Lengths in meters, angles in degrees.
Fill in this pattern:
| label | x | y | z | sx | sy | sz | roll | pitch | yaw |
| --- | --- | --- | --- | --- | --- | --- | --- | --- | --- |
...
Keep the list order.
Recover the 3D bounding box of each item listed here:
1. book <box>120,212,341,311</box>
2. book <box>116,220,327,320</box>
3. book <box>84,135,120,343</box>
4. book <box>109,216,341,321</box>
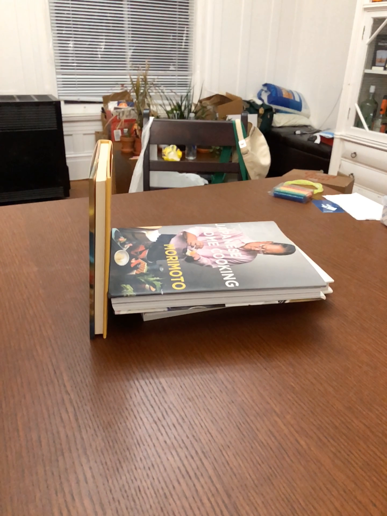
| label | x | y | z | sx | sy | sz | roll | pitch | yaw |
| --- | --- | --- | --- | --- | --- | --- | --- | --- | --- |
| book | 0.041 | -0.009 | 0.660 | 0.280 | 0.030 | 0.221 | -7 | 27 | -14 |
| book | 0.032 | 0.005 | 0.695 | 0.280 | 0.030 | 0.221 | -8 | 27 | -16 |
| book | -0.116 | -0.037 | 0.569 | 0.030 | 0.209 | 0.211 | 0 | 27 | -9 |
| book | 0.024 | 0.001 | 0.604 | 0.280 | 0.030 | 0.221 | -4 | 26 | -9 |
